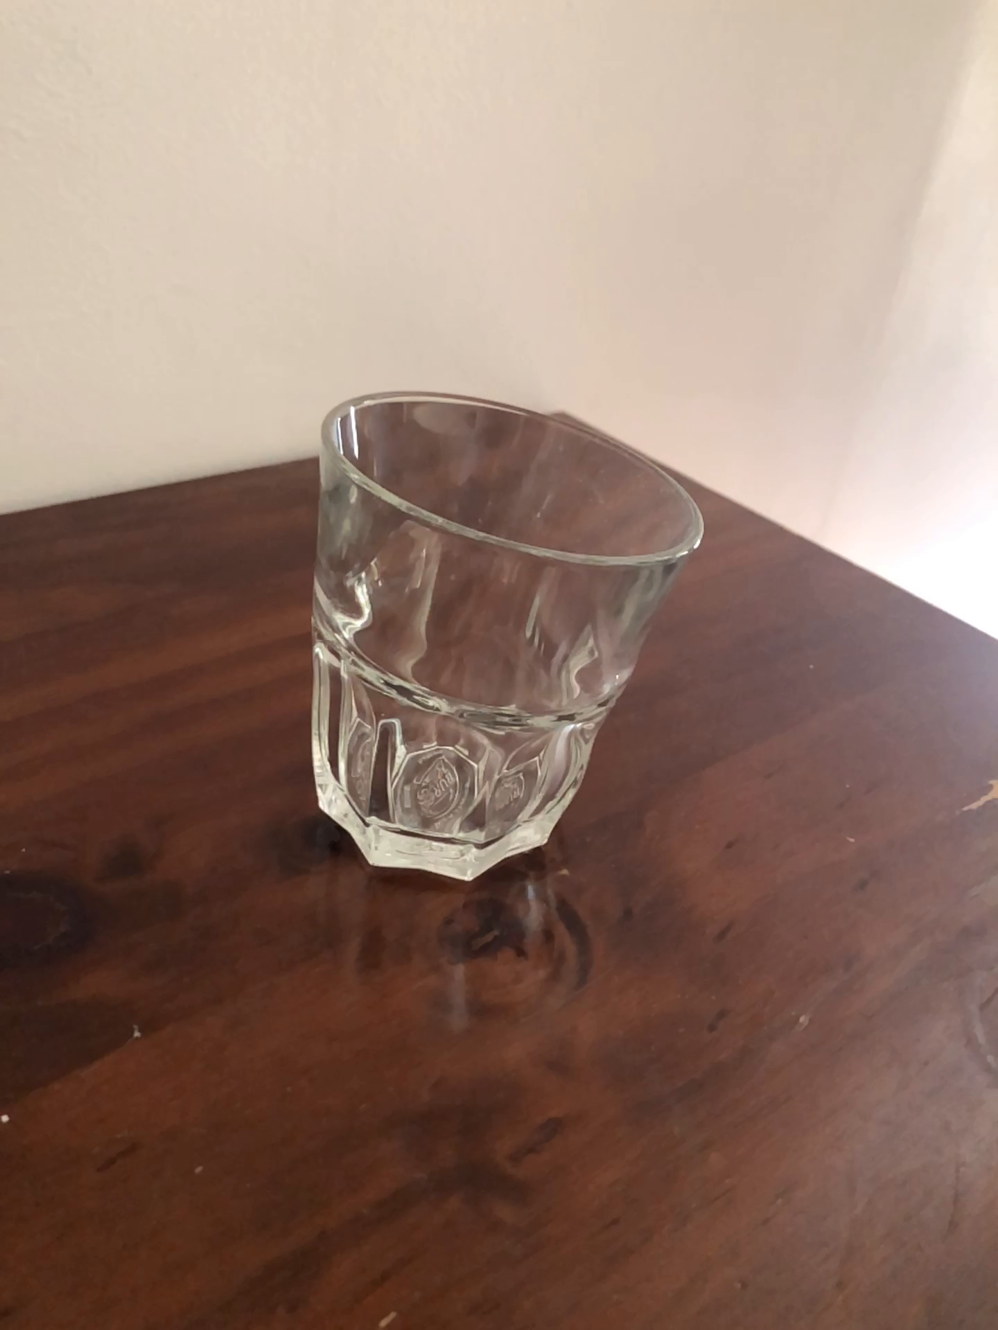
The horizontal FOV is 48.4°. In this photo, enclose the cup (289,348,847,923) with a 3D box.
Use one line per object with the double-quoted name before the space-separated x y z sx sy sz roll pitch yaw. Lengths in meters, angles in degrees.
"cup" 0.003 -0.009 0.258 0.100 0.095 0.090 1 33 -10
